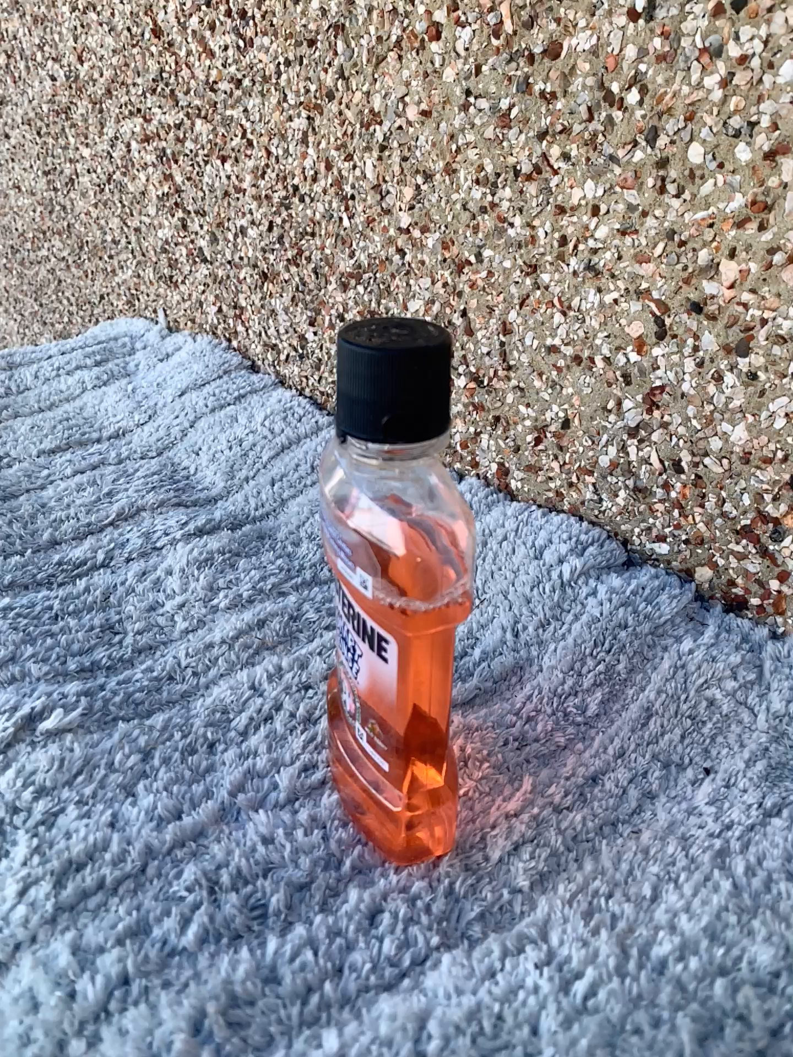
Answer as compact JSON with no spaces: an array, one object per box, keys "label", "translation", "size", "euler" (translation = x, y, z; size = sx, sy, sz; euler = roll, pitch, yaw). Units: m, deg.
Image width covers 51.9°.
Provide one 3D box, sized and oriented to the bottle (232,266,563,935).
[{"label":"bottle","translation":[-0.002,0.018,0.233],"size":[0.050,0.158,0.091],"euler":[-13,30,-17]}]
